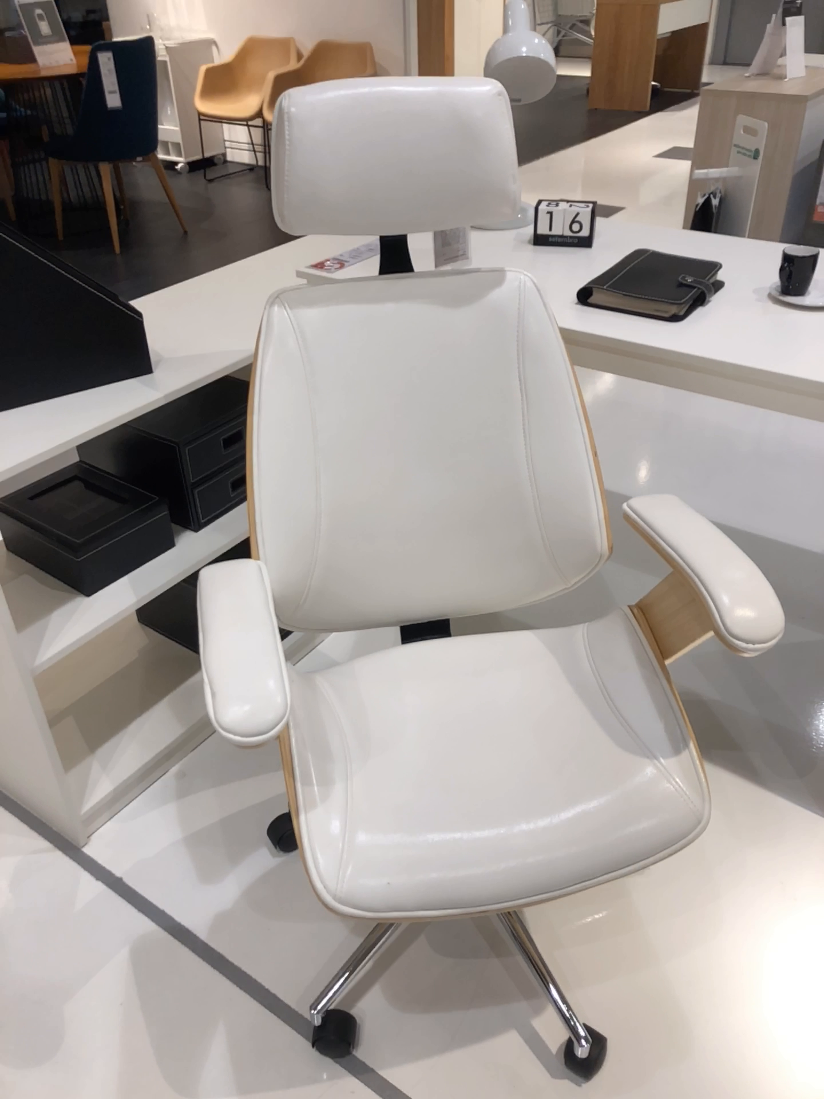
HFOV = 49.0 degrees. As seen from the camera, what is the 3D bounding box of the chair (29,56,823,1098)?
[{"bbox_3d":[0.067,0.056,1.141,0.670,1.102,0.705,-8,34,-8],"label":"chair"}]
